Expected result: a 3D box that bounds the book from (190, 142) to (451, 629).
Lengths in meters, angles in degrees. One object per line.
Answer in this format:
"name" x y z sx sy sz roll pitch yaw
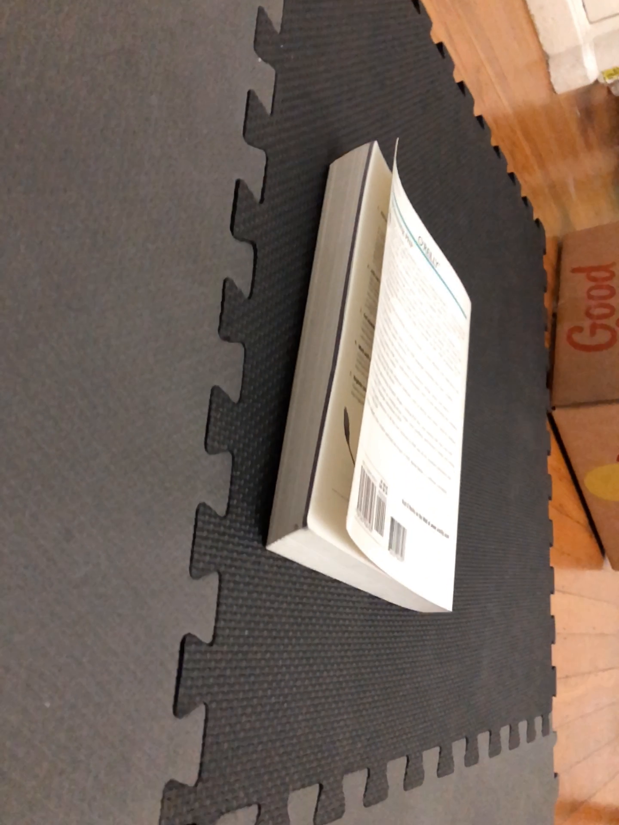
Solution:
"book" 0.034 -0.009 0.519 0.231 0.040 0.291 40 52 -48
